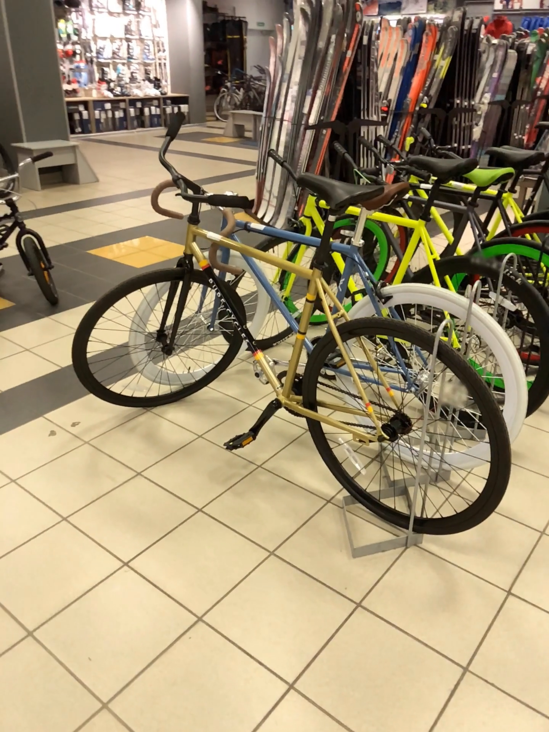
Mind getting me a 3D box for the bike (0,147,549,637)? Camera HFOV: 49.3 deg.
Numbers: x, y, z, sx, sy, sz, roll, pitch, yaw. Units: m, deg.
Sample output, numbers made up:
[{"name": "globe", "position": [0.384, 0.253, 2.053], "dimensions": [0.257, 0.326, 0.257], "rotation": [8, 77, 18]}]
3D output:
[{"name": "bike", "position": [-0.091, -0.007, 1.842], "dimensions": [1.464, 1.092, 0.674], "rotation": [10, 26, 29]}]
